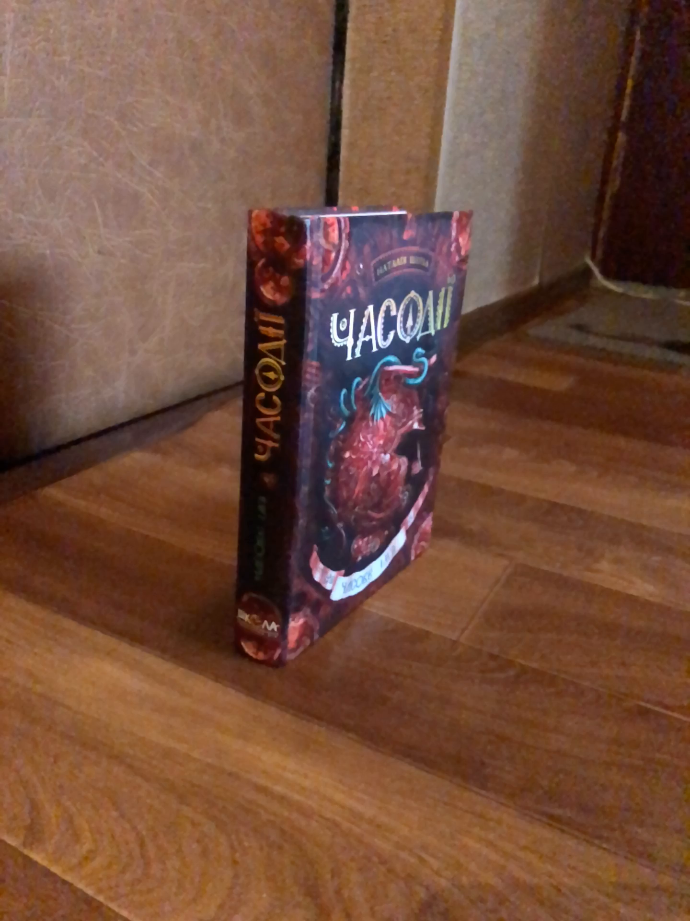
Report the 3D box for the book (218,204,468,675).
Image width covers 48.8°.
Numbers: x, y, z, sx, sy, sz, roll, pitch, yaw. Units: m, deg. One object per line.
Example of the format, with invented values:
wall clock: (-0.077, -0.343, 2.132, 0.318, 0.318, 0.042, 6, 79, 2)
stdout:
book: (0.002, -0.024, 0.421, 0.040, 0.220, 0.171, 16, 23, 28)
